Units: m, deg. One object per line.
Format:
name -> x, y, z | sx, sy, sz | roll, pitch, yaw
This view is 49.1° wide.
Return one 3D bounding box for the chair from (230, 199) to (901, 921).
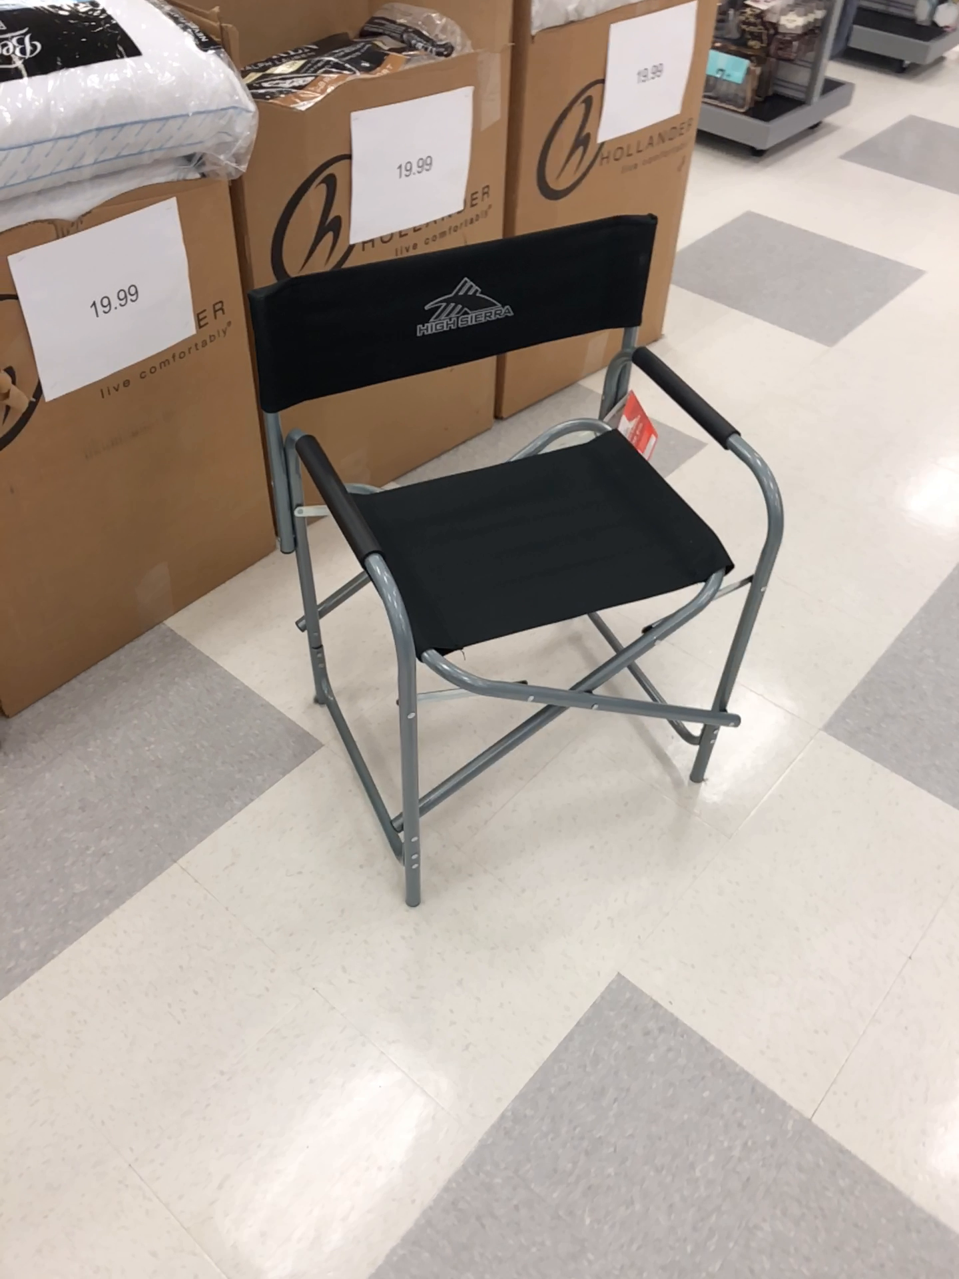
chair -> 0.074, -0.114, 1.492 | 0.625, 0.736, 0.499 | -18, 48, -20
